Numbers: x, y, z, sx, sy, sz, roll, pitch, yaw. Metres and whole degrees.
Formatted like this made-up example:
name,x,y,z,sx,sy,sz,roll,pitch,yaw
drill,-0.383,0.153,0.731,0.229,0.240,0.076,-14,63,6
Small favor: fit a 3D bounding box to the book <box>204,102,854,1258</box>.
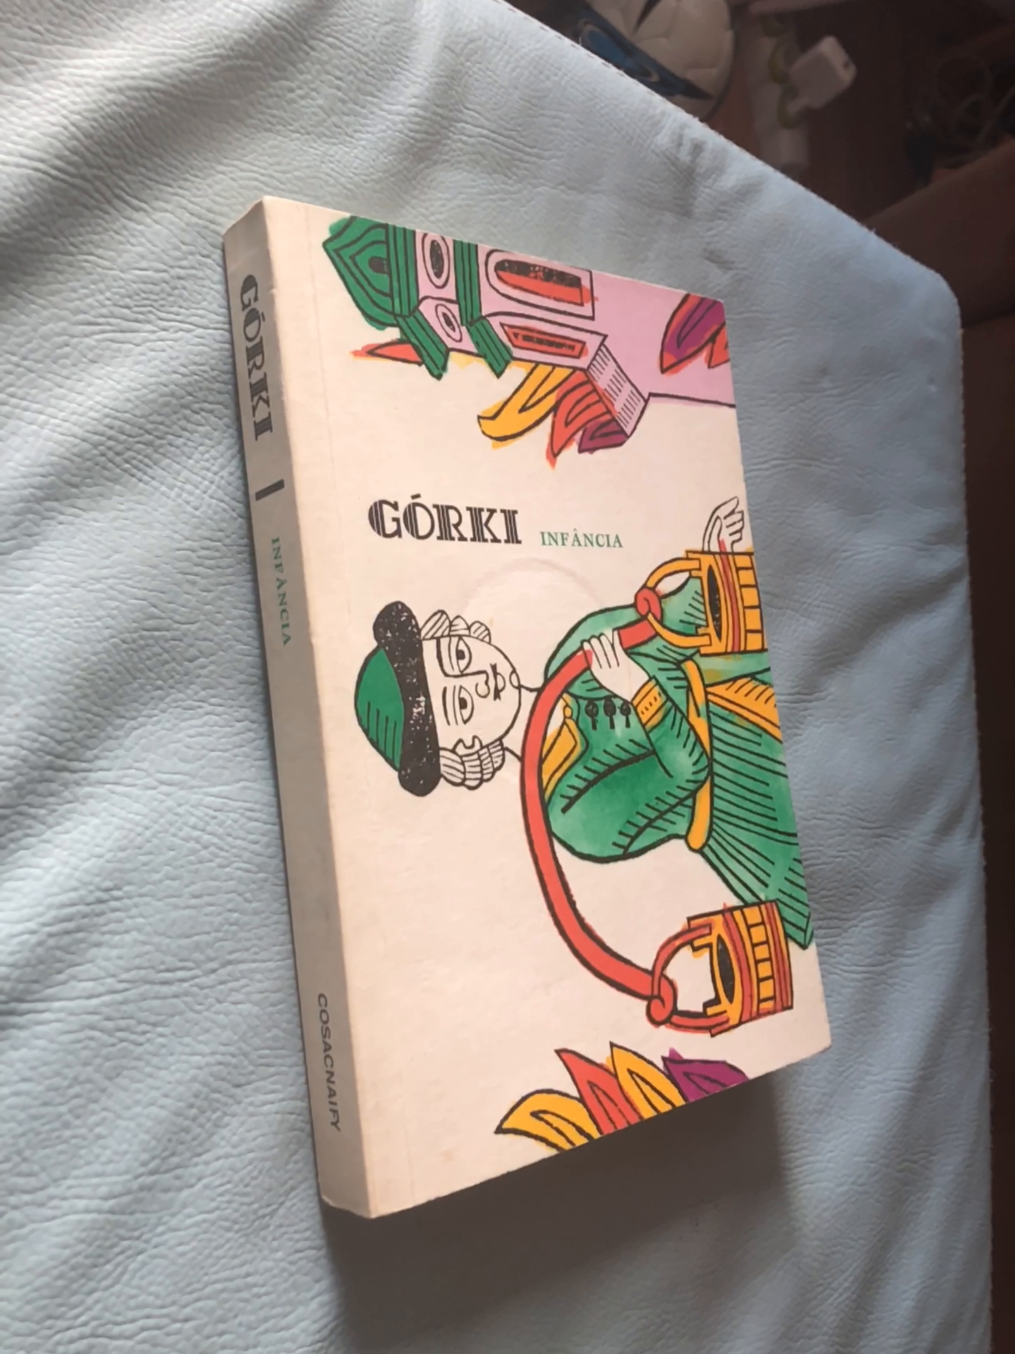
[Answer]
name,x,y,z,sx,sy,sz,roll,pitch,yaw
book,0.010,-0.004,0.246,0.131,0.030,0.200,-2,83,-38
